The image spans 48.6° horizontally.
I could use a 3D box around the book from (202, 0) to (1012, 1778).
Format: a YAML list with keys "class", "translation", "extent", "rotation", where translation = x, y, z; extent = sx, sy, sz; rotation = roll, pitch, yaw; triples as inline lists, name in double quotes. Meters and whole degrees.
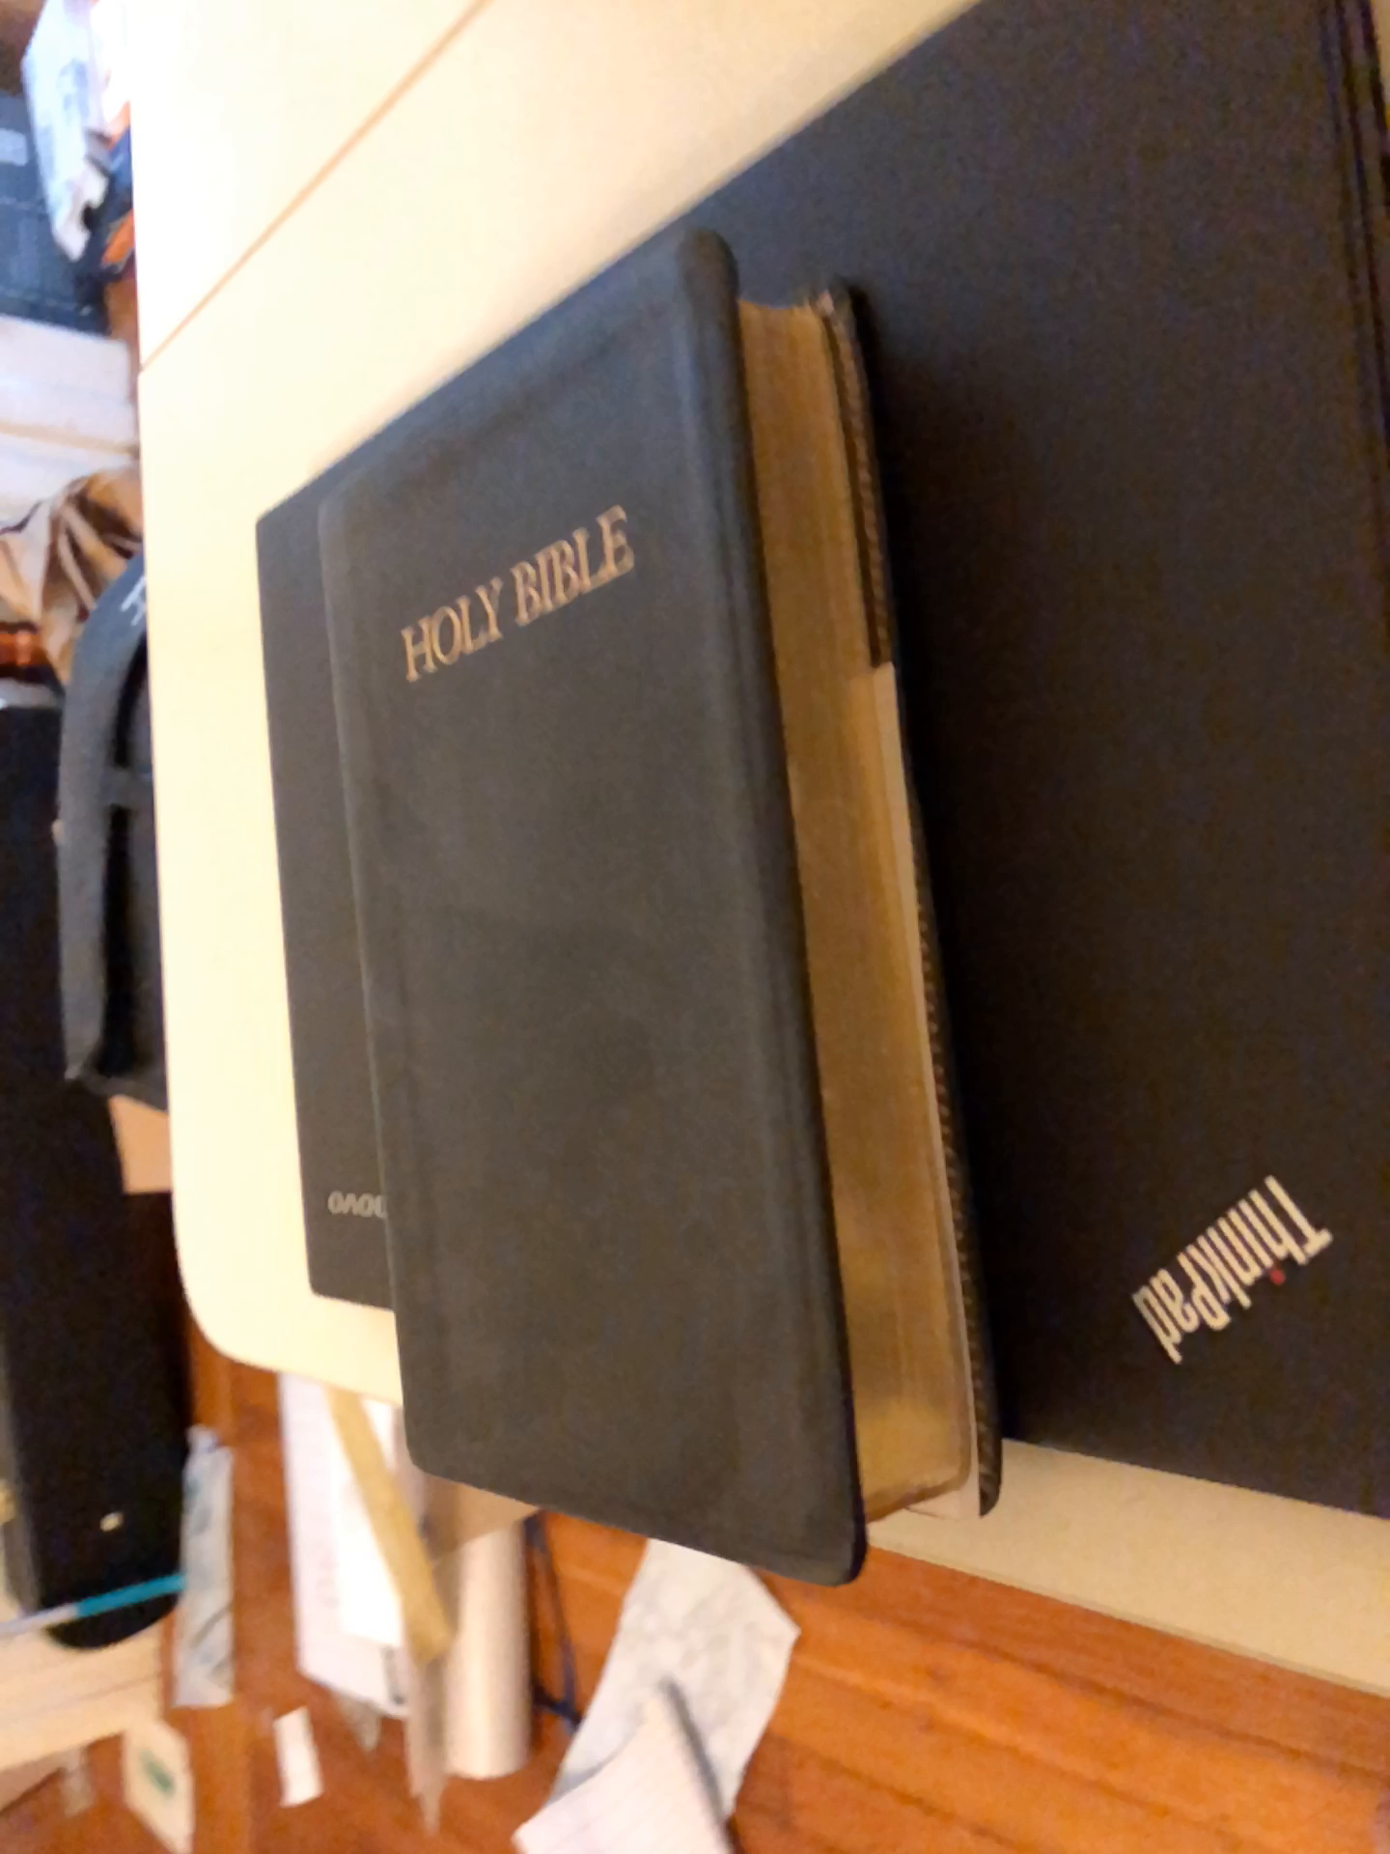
- class: "book"
  translation: [-0.034, -0.002, 0.282]
  extent: [0.171, 0.040, 0.240]
  rotation: [-12, 81, 51]
